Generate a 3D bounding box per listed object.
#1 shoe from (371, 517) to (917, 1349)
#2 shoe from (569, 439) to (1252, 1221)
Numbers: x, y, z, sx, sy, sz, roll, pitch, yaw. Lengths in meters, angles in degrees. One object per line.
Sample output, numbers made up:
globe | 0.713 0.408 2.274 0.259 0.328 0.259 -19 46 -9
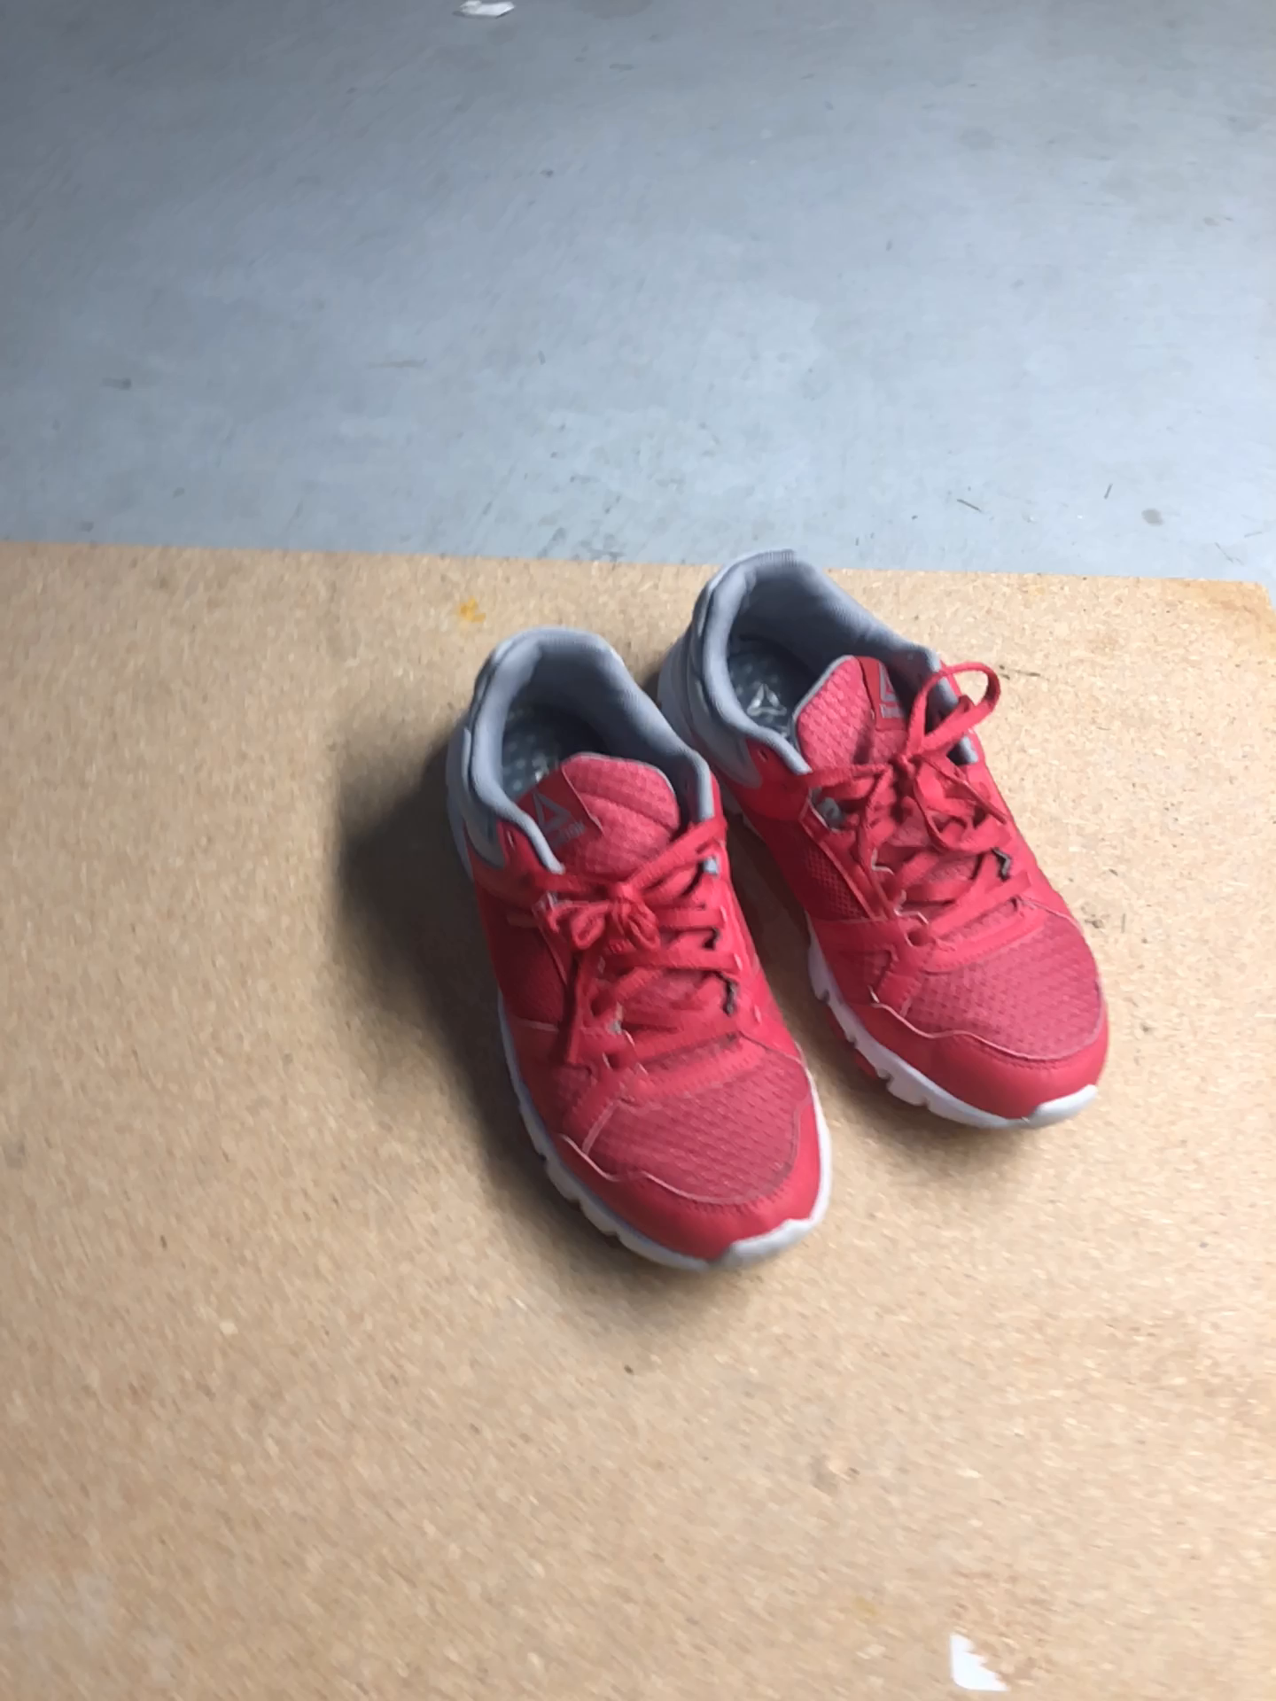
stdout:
shoe | -0.011 0.020 0.512 0.100 0.100 0.270 -15 60 -11
shoe | 0.083 -0.017 0.541 0.110 0.100 0.270 -23 62 -16
